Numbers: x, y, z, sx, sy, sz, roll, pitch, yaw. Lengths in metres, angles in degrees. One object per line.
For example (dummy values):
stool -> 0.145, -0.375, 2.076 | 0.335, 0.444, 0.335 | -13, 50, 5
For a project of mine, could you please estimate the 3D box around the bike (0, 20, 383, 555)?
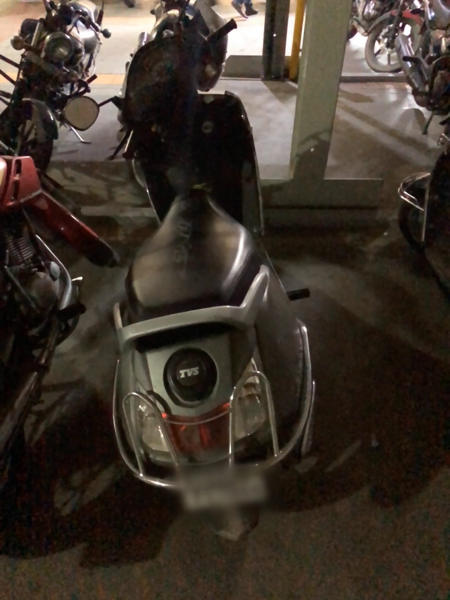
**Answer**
bike -> -0.109, -0.145, 1.599 | 0.602, 1.094, 1.388 | -2, 40, -3
